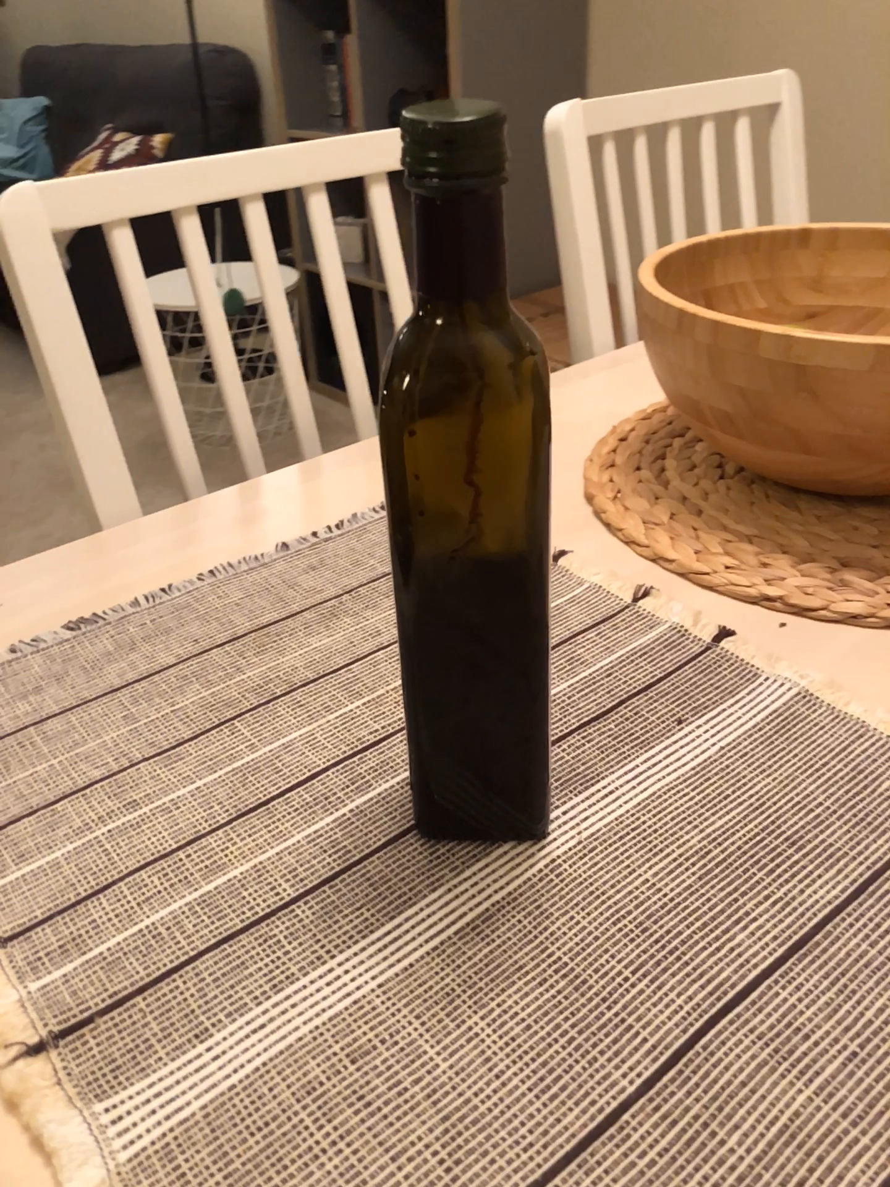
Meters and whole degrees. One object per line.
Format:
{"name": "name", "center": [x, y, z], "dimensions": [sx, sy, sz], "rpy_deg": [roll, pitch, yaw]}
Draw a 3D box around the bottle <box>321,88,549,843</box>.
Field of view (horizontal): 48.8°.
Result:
{"name": "bottle", "center": [0.005, -0.030, 0.348], "dimensions": [0.060, 0.261, 0.060], "rpy_deg": [-2, 31, 1]}
